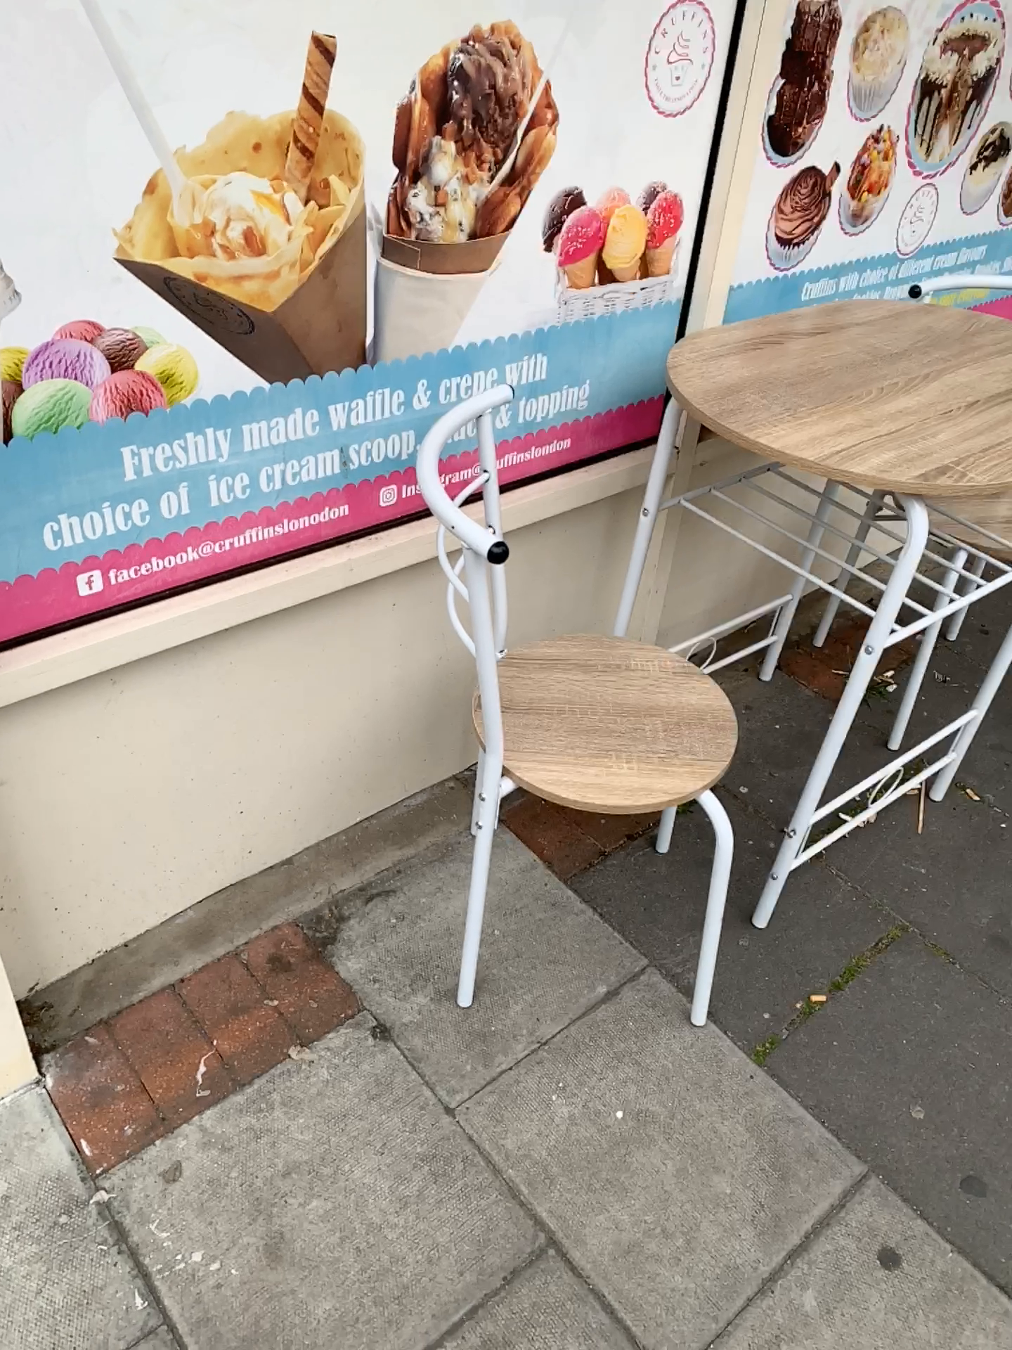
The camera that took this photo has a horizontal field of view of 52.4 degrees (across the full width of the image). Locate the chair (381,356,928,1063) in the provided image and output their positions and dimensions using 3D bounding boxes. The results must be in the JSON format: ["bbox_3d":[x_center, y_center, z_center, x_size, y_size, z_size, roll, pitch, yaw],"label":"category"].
[{"bbox_3d":[0.095,0.046,1.385,0.500,0.752,0.535,-1,36,-9],"label":"chair"}]
